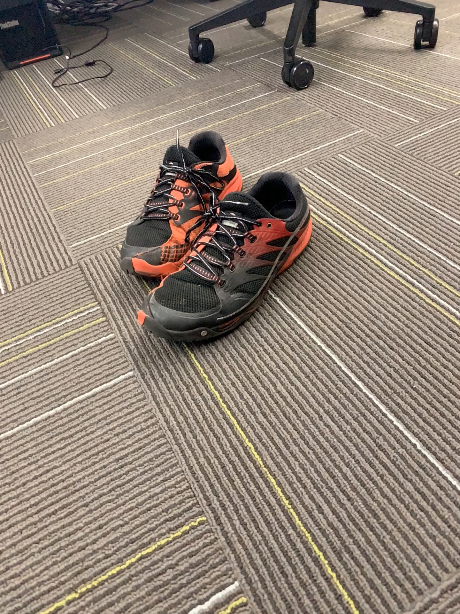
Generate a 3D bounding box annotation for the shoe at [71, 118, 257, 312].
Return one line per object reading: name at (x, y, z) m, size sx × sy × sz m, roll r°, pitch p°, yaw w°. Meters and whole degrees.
shoe at (-0.078, -0.157, 0.718) m, size 0.130 × 0.129 × 0.311 m, roll 11°, pitch 48°, yaw 21°

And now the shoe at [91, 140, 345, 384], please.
shoe at (0.005, -0.076, 0.612) m, size 0.131 × 0.129 × 0.320 m, roll 27°, pitch 55°, yaw 33°
